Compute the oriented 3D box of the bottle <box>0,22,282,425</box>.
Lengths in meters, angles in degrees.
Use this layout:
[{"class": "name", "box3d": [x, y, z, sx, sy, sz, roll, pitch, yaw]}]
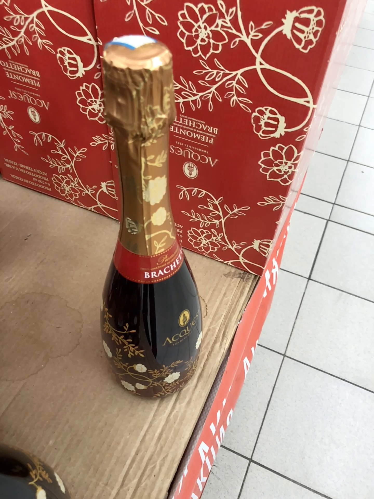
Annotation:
[{"class": "bottle", "box3d": [-0.029, 0.010, 0.304, 0.100, 0.279, 0.100, 1, 49, -2]}]
